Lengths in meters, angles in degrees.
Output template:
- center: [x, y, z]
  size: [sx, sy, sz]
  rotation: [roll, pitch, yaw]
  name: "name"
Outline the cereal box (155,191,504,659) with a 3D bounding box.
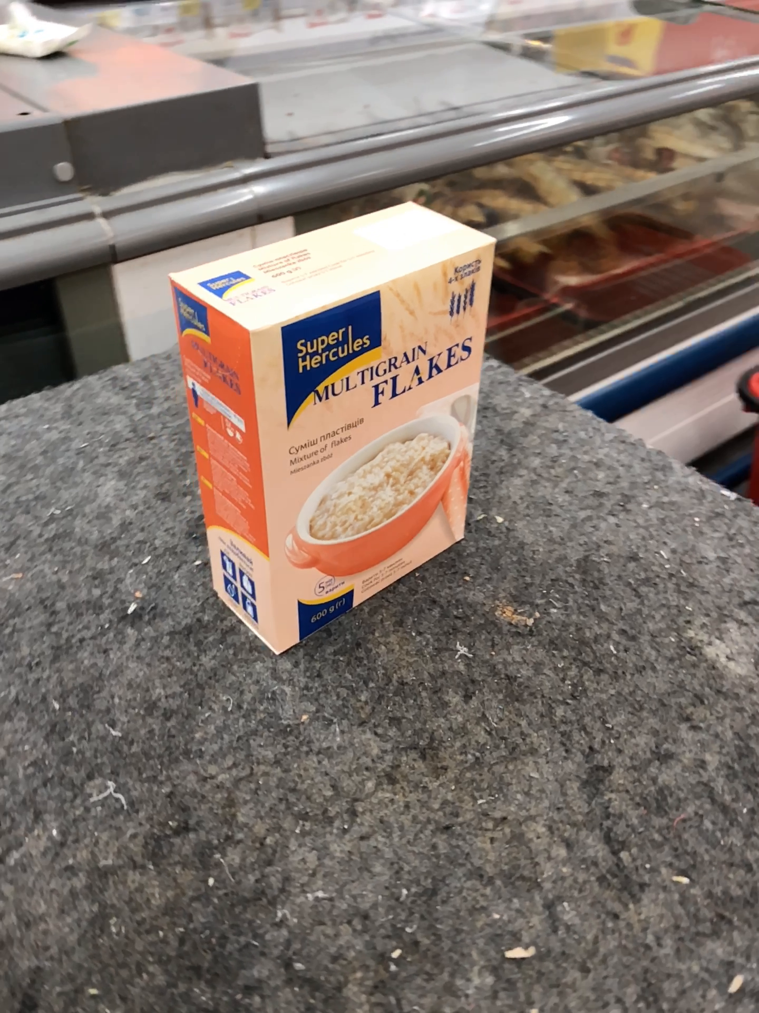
- center: [-0.021, -0.043, 0.447]
  size: [0.151, 0.199, 0.070]
  rotation: [-29, 48, -32]
  name: "cereal box"
